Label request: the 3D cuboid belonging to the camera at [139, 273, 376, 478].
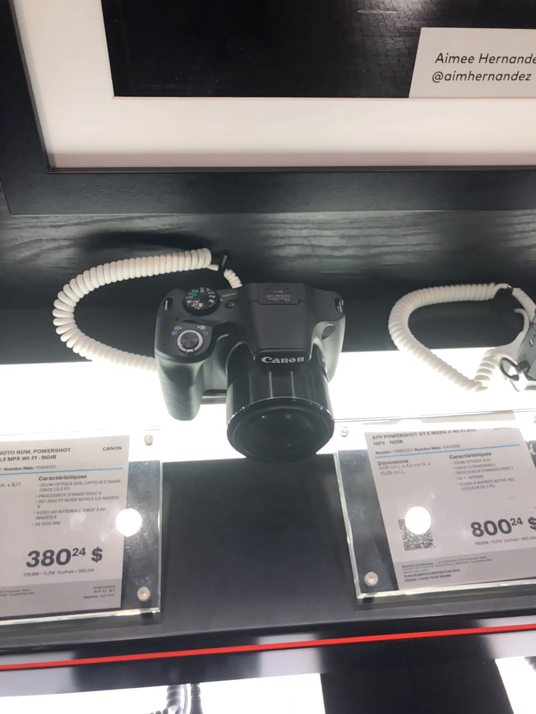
[{"bbox_3d":[-0.010,0.012,0.364,0.122,0.099,0.071,-2,42,-6],"label":"camera"}]
